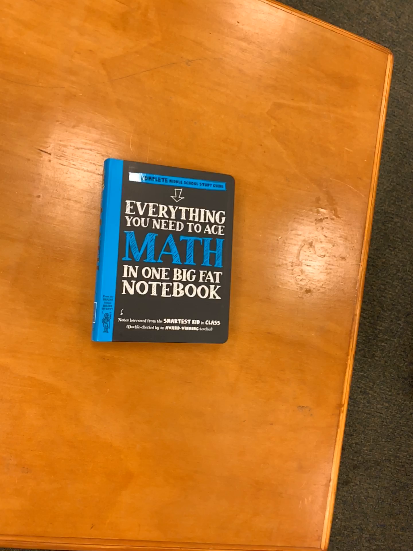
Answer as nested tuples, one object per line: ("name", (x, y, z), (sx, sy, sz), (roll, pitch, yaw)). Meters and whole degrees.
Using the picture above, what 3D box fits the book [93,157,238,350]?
("book", (-0.049, -0.021, 0.508), (0.157, 0.050, 0.208), (2, 89, -18))
